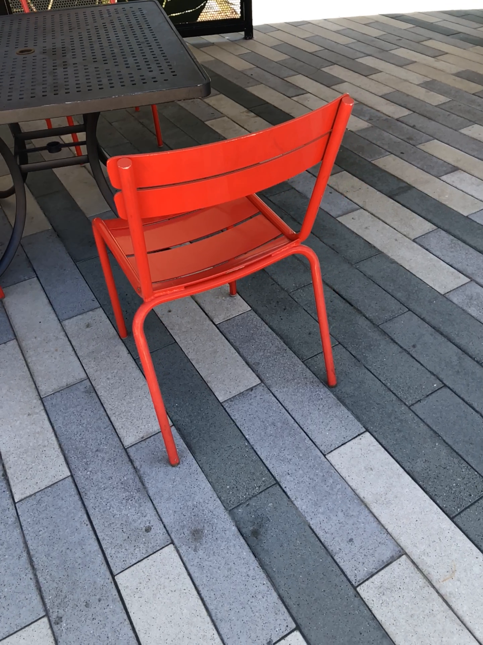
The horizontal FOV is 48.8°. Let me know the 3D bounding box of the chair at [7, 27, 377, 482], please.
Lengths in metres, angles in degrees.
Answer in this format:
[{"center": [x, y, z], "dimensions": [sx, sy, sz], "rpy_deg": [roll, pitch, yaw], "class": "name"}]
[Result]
[{"center": [-0.127, -0.190, 1.517], "dimensions": [0.610, 0.955, 0.633], "rpy_deg": [-23, 46, -21], "class": "chair"}]
